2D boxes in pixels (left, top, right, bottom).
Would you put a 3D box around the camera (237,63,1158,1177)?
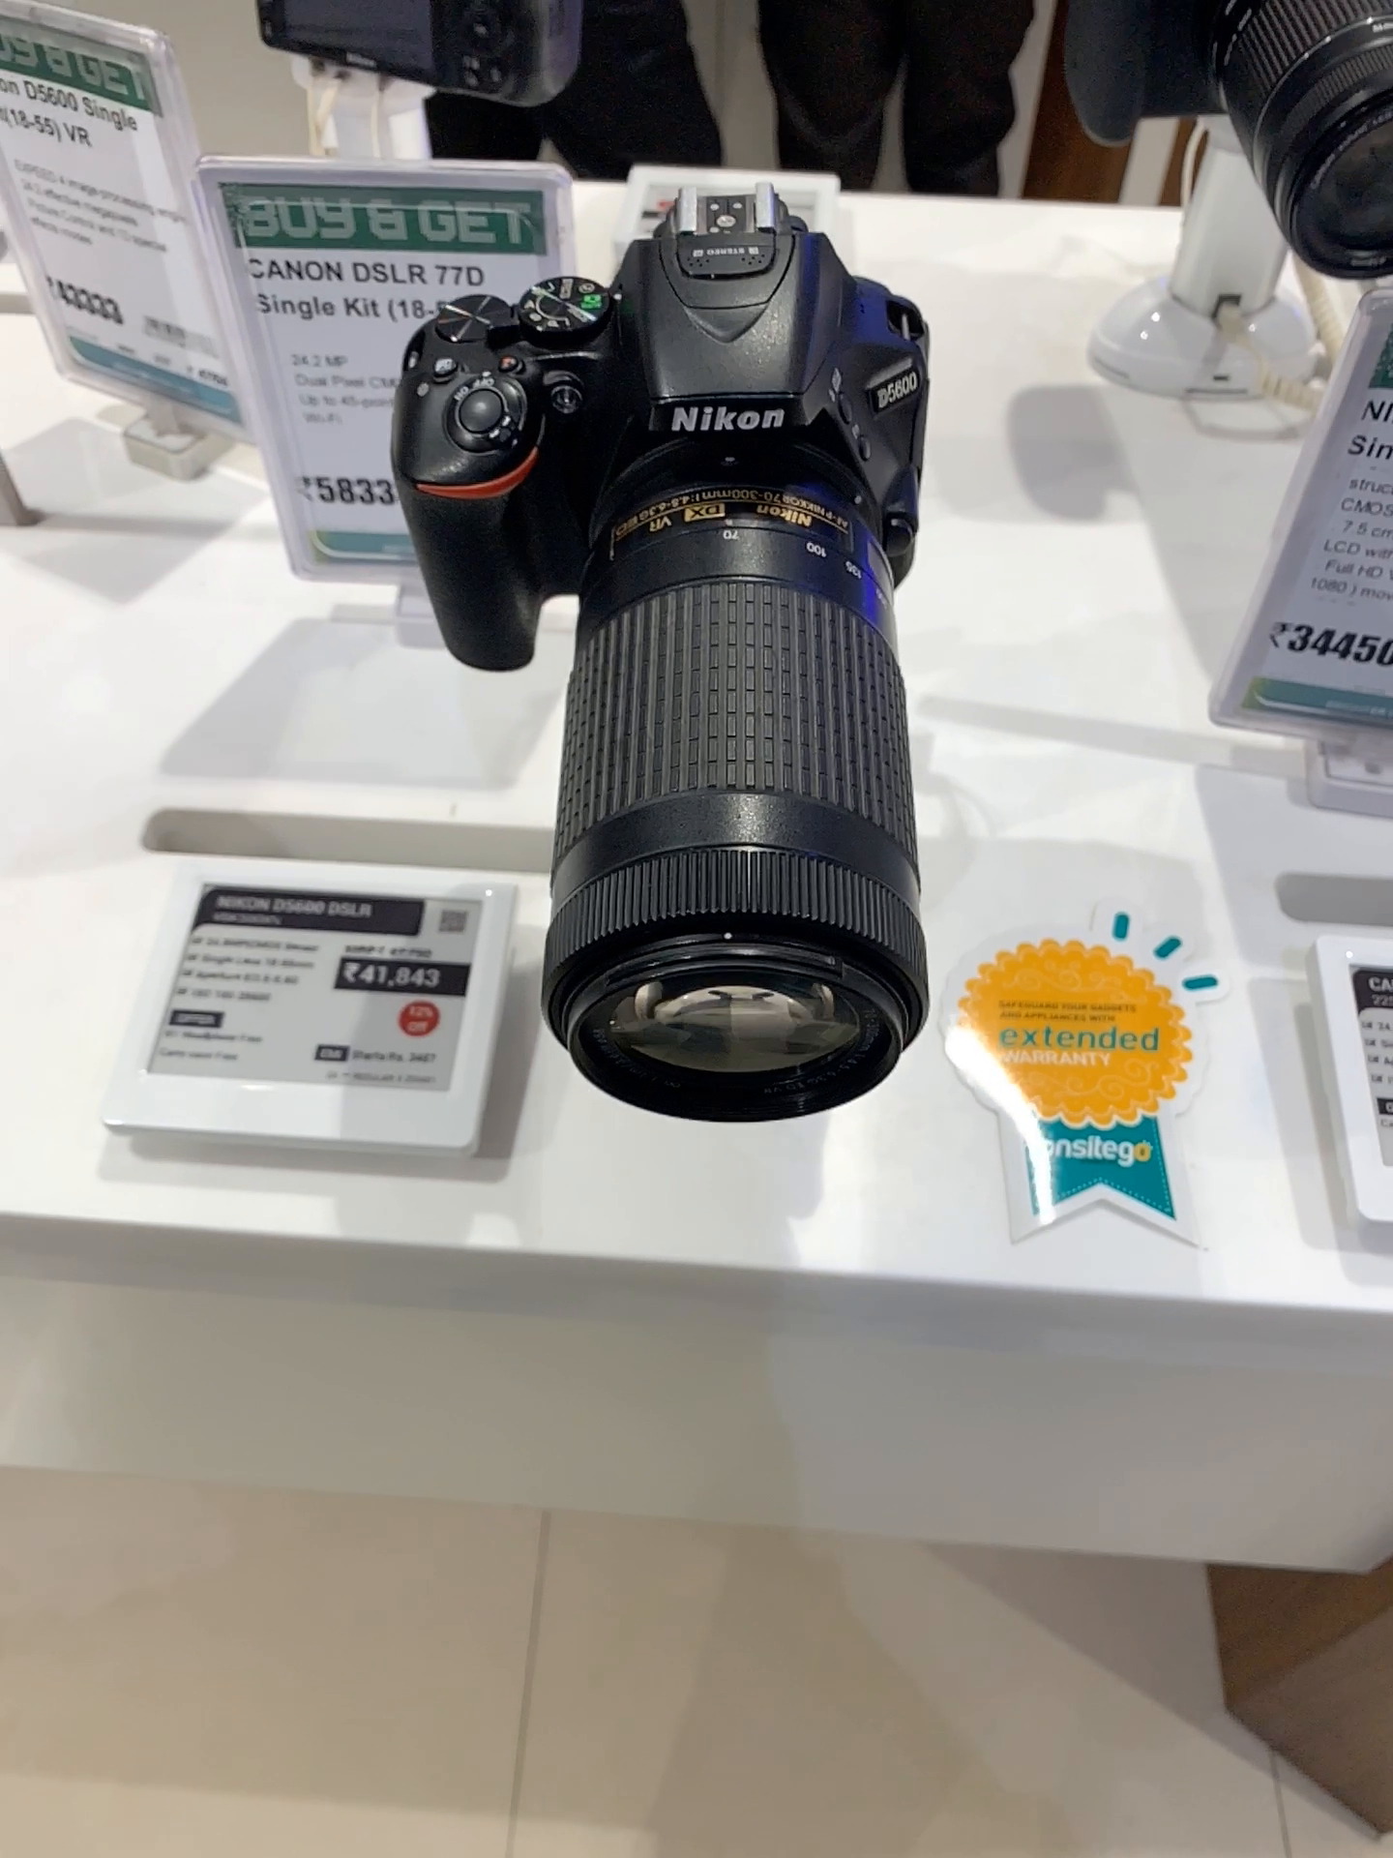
[{"bbox_3d":[0.002,-0.090,0.322,0.130,0.080,0.281,1,52,0],"label":"camera"}]
